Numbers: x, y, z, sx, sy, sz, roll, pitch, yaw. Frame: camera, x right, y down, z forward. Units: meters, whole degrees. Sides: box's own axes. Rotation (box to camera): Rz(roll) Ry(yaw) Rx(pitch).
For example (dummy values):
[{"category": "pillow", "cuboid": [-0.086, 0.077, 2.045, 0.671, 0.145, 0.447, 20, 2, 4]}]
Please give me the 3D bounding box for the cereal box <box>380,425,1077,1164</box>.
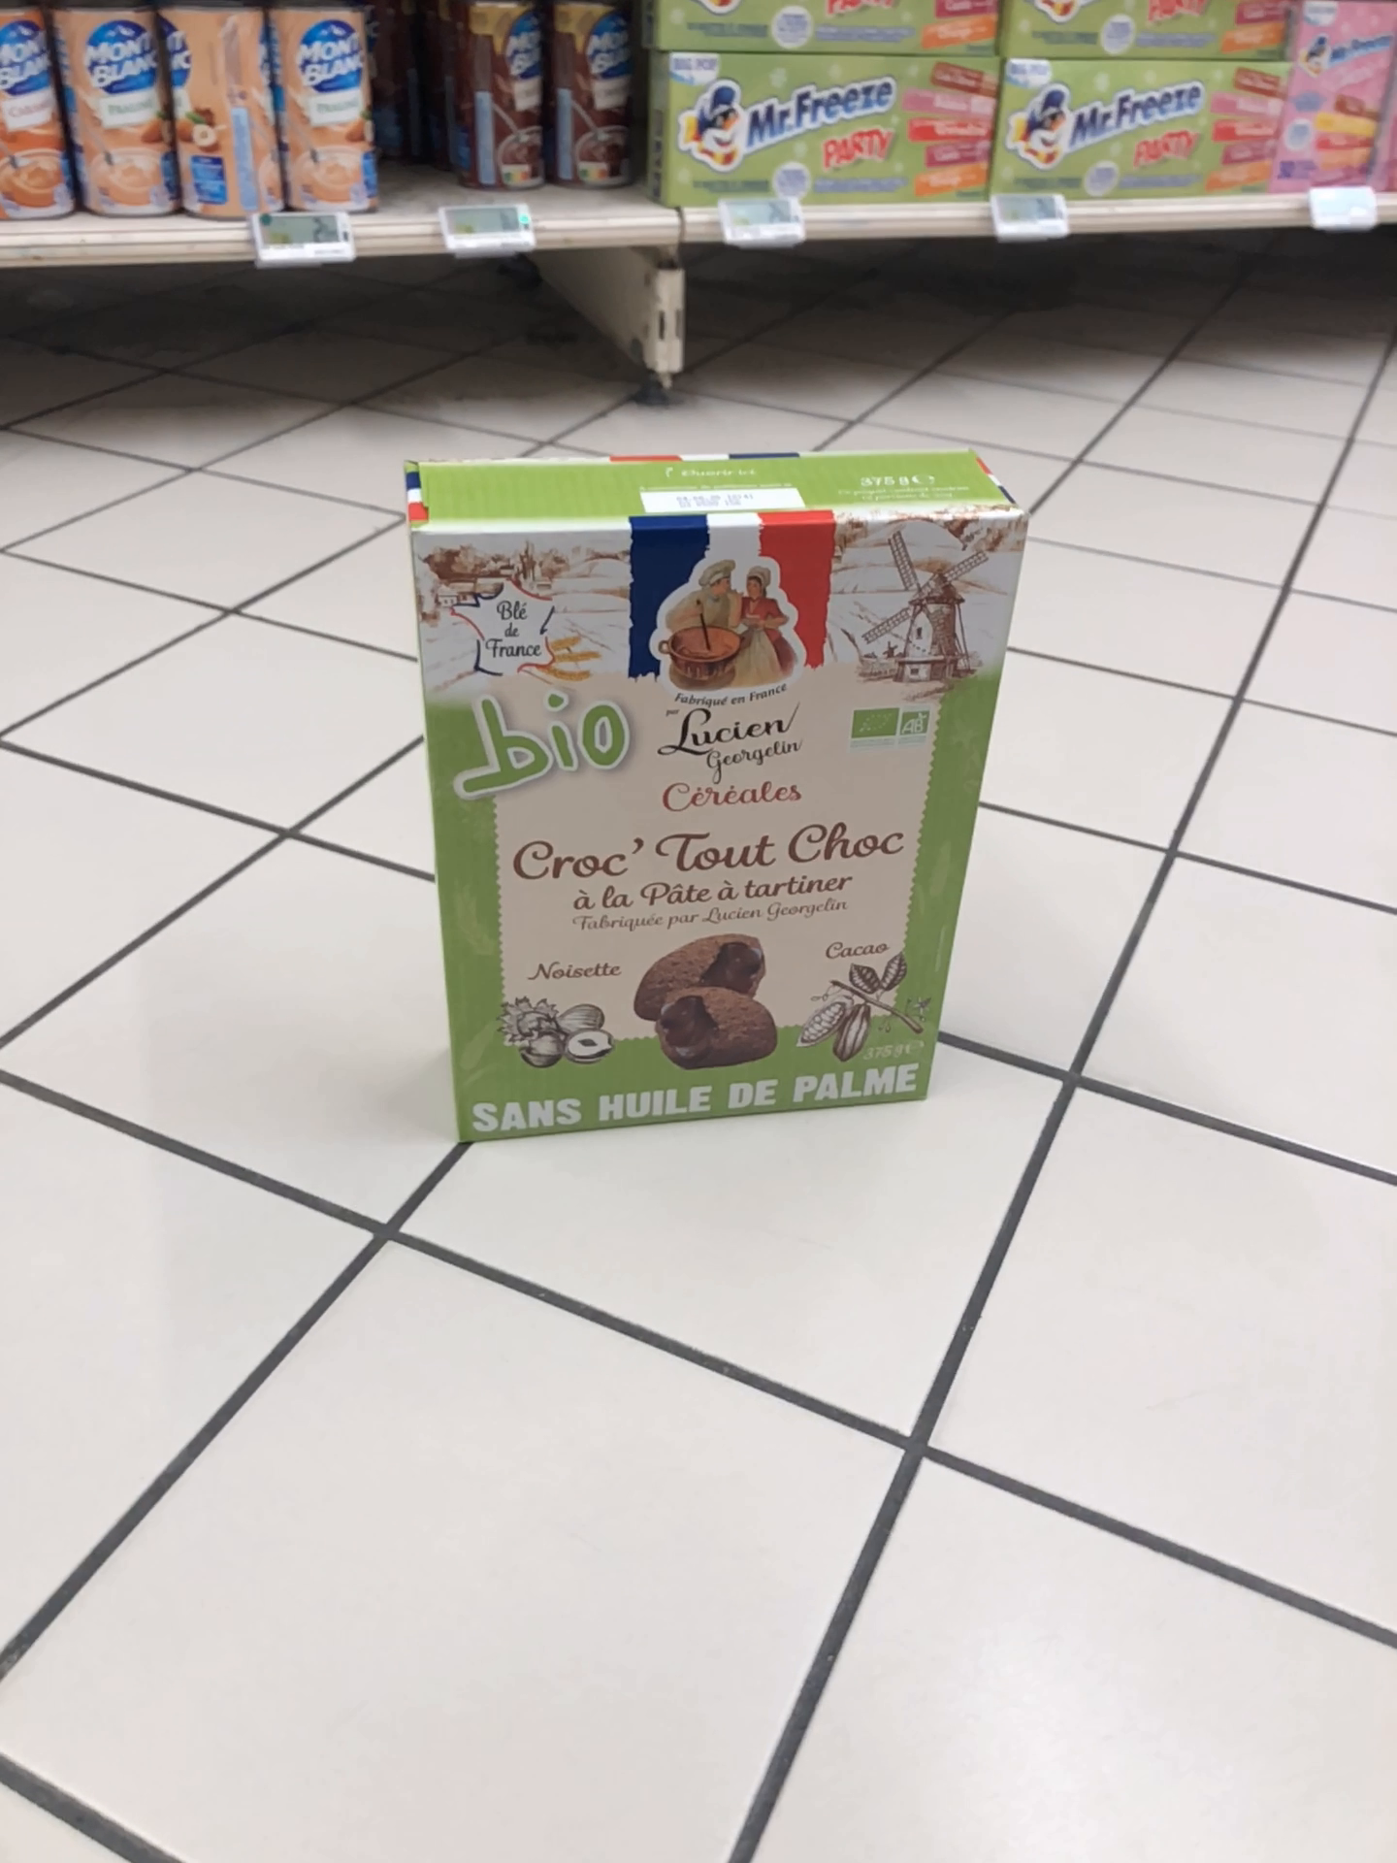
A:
[{"category": "cereal box", "cuboid": [0.001, -0.043, 0.534, 0.200, 0.238, 0.080, -3, 34, -9]}]
